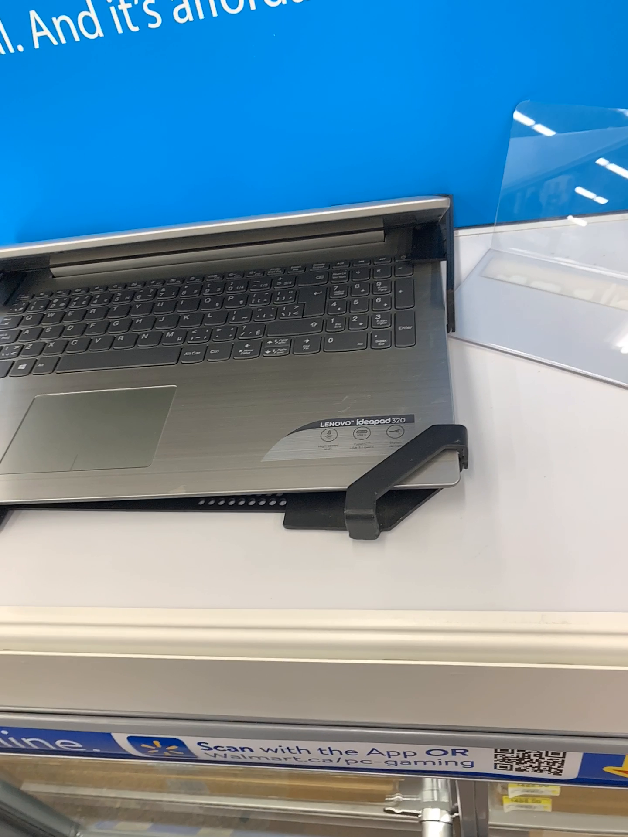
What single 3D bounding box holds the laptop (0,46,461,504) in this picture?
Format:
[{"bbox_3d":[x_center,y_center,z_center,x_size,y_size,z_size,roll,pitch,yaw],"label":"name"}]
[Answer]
[{"bbox_3d":[-0.095,-0.082,0.360,0.324,0.110,0.220,-4,47,10],"label":"laptop"}]
